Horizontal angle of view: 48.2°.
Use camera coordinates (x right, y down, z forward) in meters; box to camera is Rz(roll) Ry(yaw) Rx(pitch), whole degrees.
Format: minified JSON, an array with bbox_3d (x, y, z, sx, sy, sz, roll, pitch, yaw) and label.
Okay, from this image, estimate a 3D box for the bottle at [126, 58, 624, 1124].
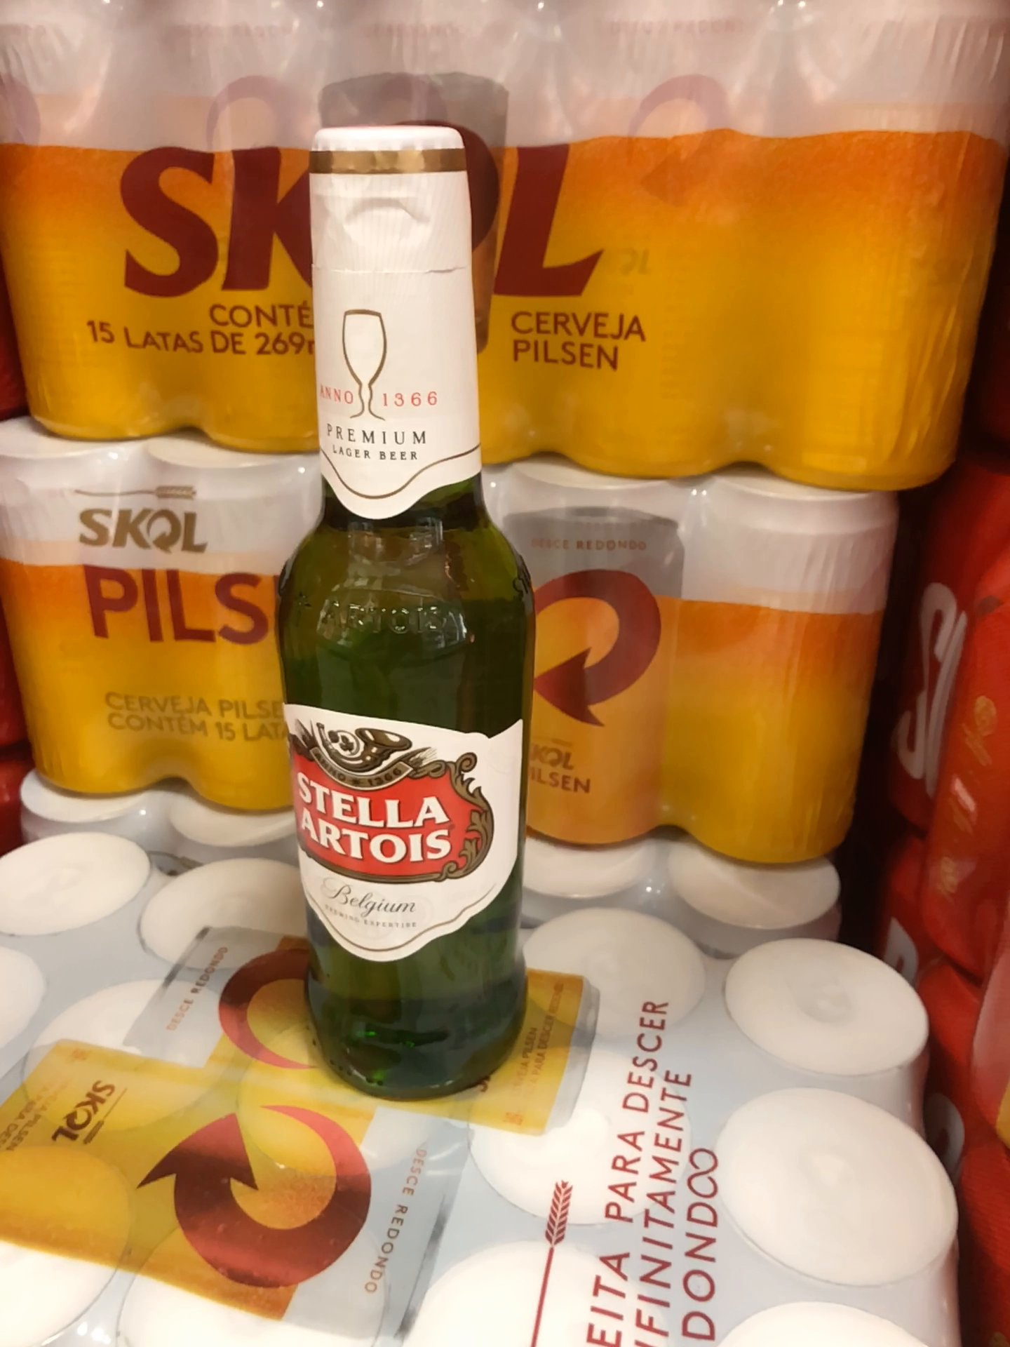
[{"bbox_3d":[-0.017,-0.009,0.245,0.070,0.218,0.060,5,29,11],"label":"bottle"}]
